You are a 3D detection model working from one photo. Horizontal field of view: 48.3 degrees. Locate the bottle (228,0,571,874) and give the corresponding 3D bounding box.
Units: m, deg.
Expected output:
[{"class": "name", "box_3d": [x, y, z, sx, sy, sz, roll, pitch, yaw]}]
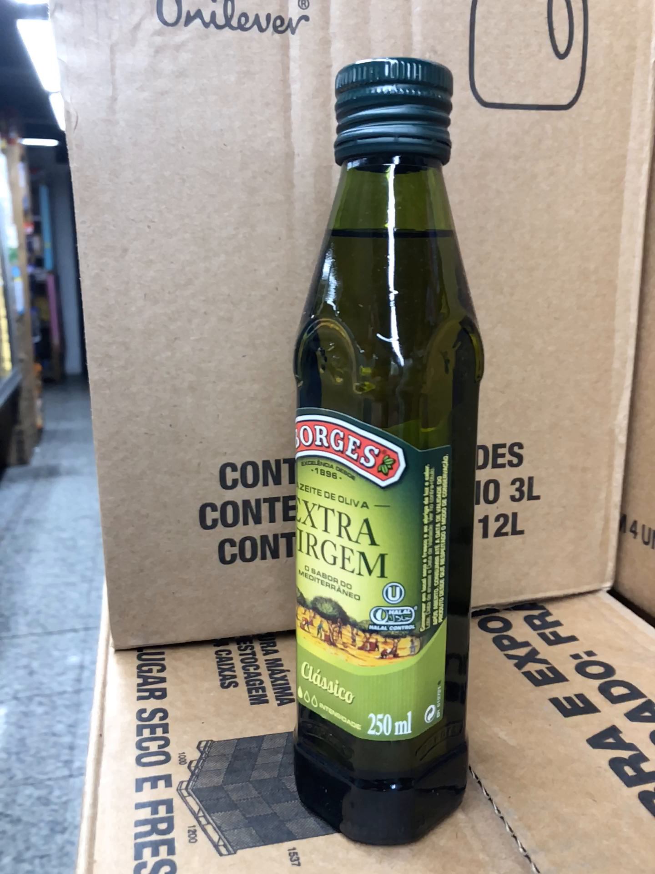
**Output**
[{"class": "bottle", "box_3d": [0.017, -0.002, 0.205, 0.060, 0.219, 0.060, 1, 13, 0]}]
